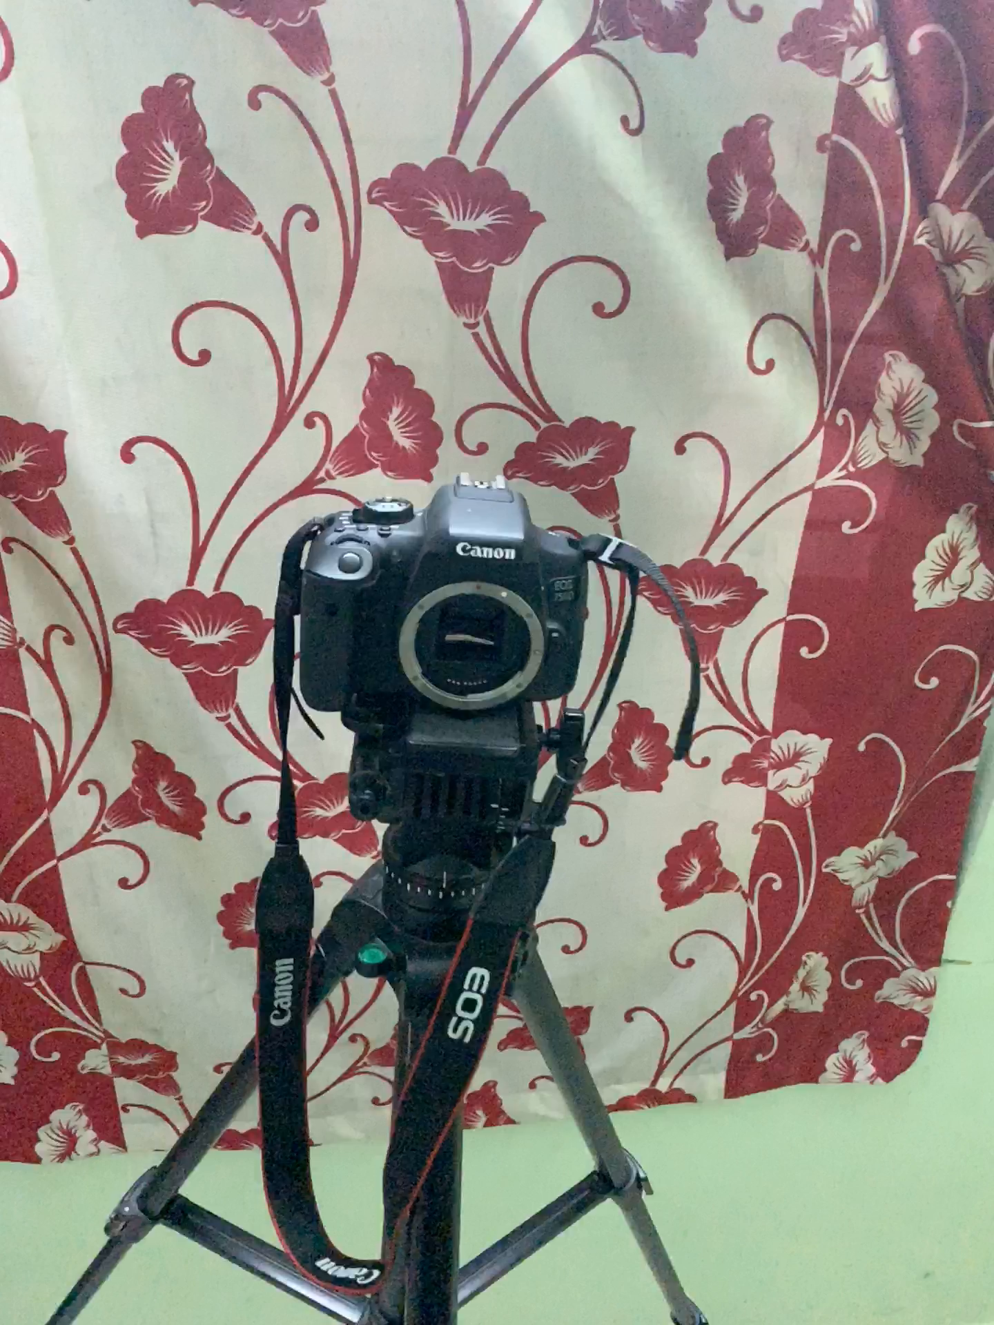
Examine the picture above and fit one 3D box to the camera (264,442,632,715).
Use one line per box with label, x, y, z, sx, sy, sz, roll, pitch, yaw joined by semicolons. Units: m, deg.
camera;-0.025;-0.038;0.448;0.142;0.088;0.085;2;26;-6
